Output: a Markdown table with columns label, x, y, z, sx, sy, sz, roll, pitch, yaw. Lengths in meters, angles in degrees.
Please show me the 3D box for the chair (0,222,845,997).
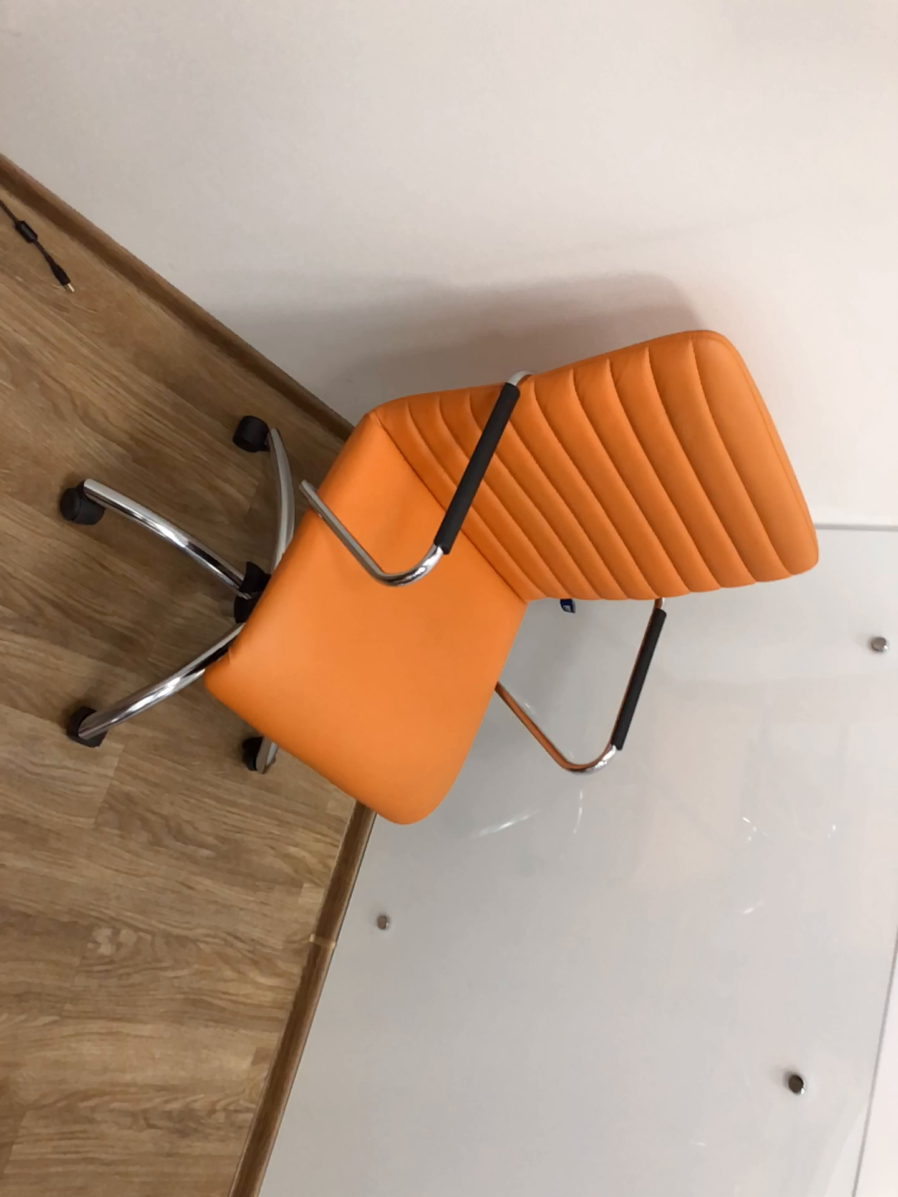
| label | x | y | z | sx | sy | sz | roll | pitch | yaw |
| --- | --- | --- | --- | --- | --- | --- | --- | --- | --- |
| chair | -0.051 | 0.025 | 1.377 | 0.622 | 0.895 | 0.661 | 41 | 63 | -45 |
